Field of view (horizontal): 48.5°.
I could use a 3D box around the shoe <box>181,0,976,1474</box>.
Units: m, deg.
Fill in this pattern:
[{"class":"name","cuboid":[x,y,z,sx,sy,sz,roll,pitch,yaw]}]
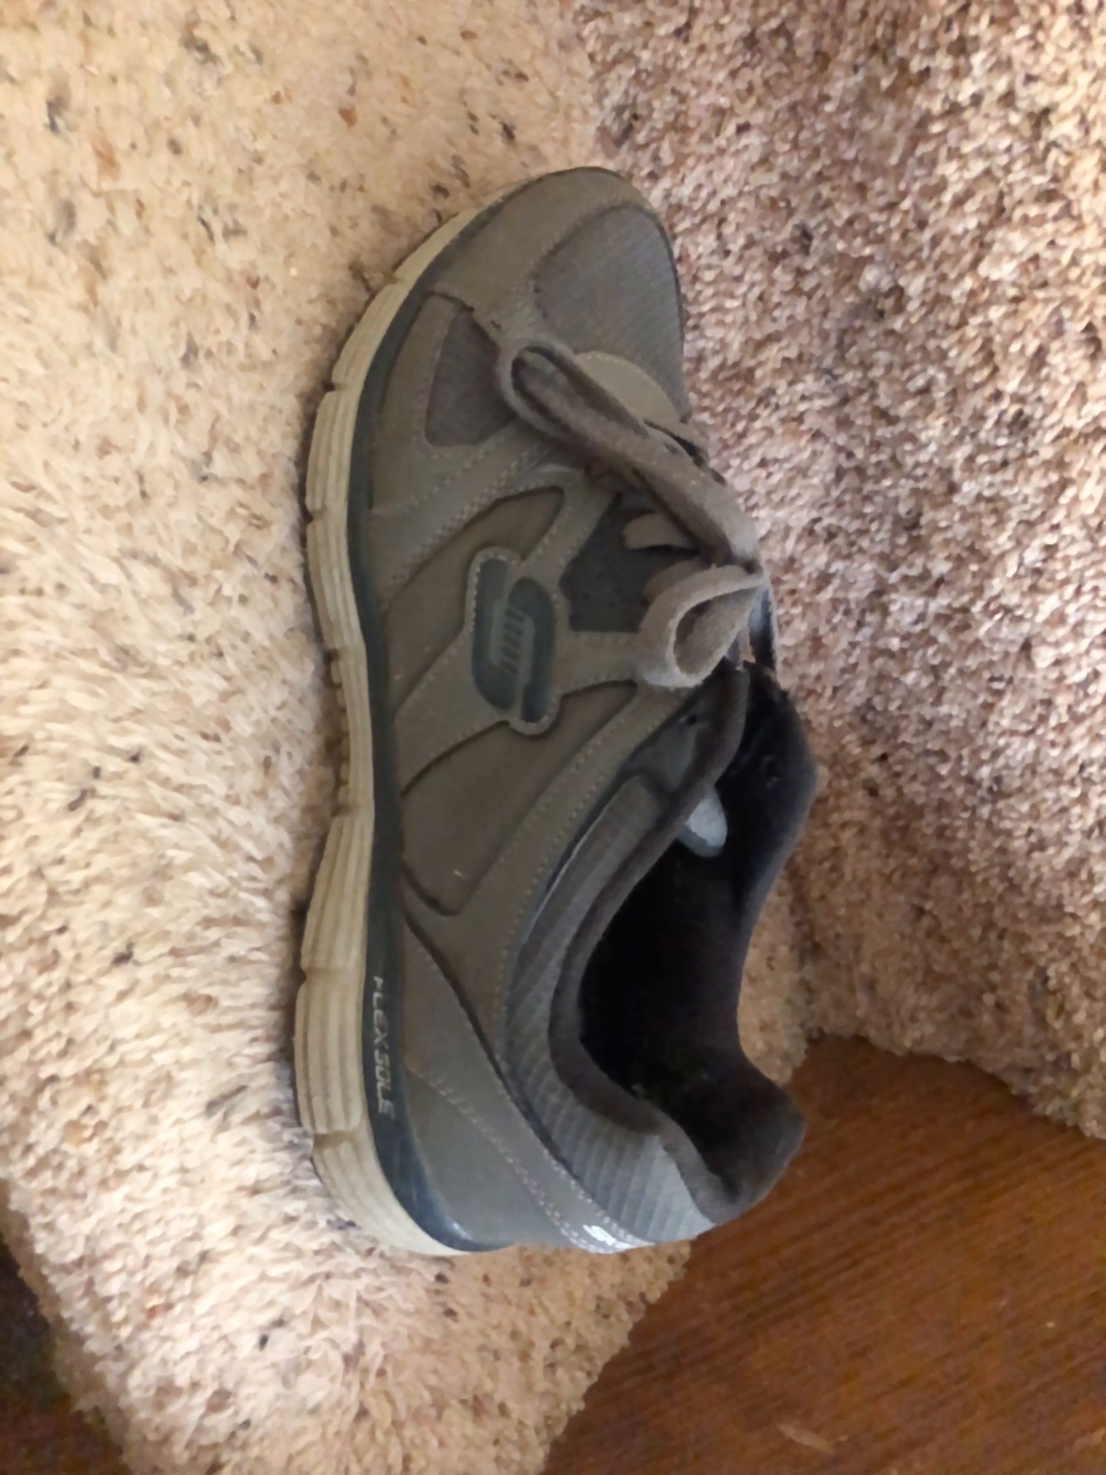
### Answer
[{"class":"shoe","cuboid":[0.012,-0.016,0.306,0.111,0.139,0.300,12,79,-51]}]
